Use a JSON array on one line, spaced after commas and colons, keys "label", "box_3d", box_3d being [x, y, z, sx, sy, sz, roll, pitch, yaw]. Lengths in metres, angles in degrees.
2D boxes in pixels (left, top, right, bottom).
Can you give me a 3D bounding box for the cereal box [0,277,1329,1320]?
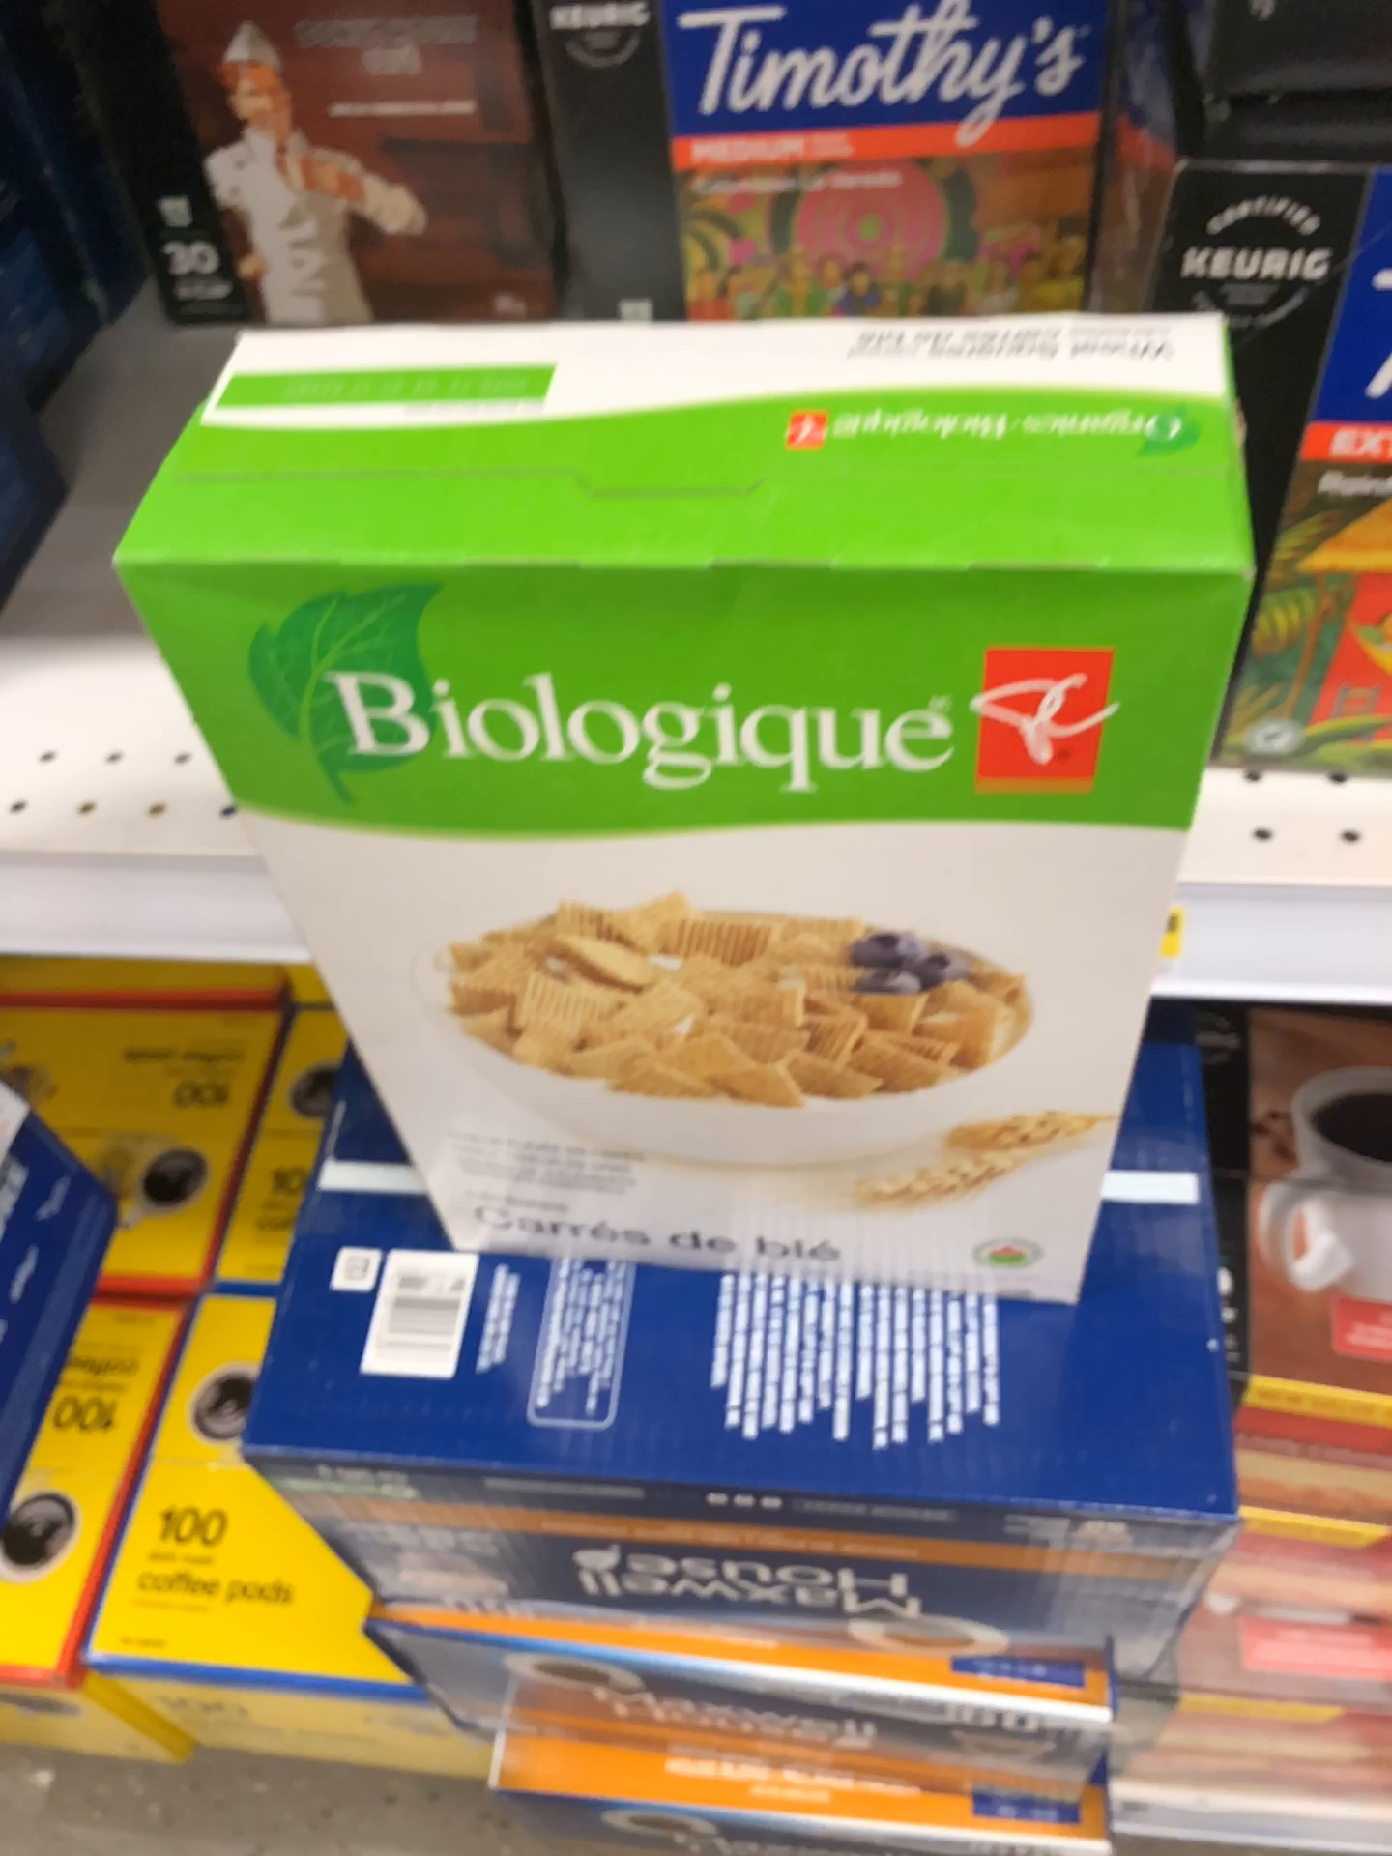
[{"label": "cereal box", "box_3d": [0.007, -0.004, 0.378, 0.210, 0.289, 0.070, 4, 55, 10]}]
